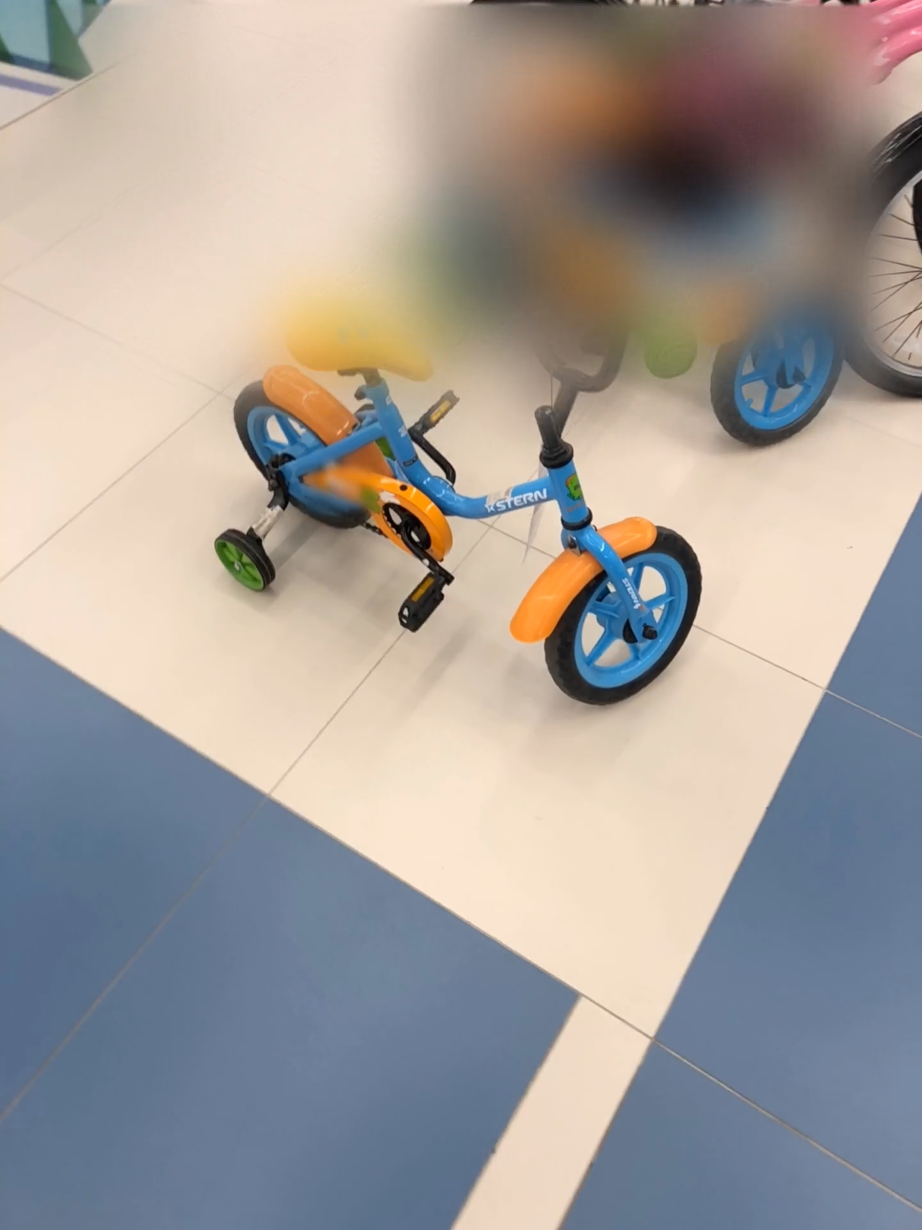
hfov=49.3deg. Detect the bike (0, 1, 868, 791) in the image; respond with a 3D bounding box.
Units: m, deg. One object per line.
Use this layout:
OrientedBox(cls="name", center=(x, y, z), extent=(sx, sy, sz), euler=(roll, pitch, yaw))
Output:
OrientedBox(cls="bike", center=(-0.016, -0.277, 1.353), extent=(0.750, 0.682, 0.566), euler=(20, 55, 12))
